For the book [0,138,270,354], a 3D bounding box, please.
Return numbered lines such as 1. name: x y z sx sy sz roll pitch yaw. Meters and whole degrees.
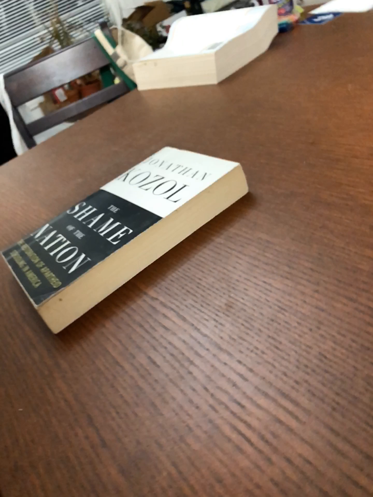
1. book: -0.062 -0.026 0.389 0.230 0.030 0.161 -36 35 -18
